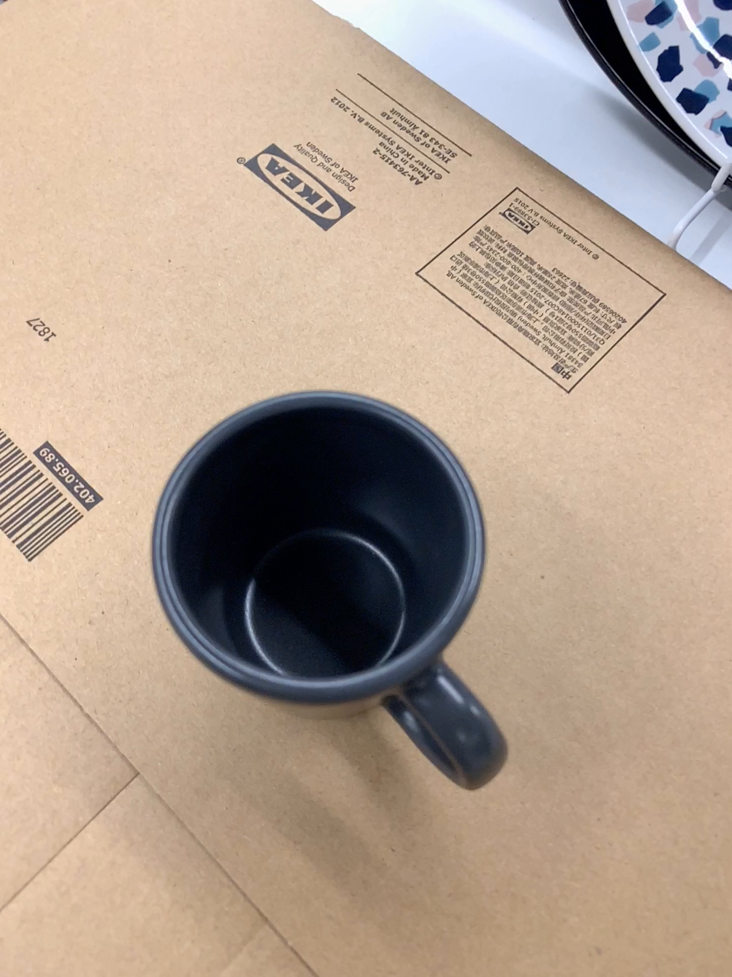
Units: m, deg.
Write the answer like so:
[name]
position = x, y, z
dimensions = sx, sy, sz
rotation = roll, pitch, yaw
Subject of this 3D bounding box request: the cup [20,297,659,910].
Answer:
[cup]
position = -0.006, 0.023, 0.154
dimensions = 0.090, 0.060, 0.060
rotation = 40, 70, 13
